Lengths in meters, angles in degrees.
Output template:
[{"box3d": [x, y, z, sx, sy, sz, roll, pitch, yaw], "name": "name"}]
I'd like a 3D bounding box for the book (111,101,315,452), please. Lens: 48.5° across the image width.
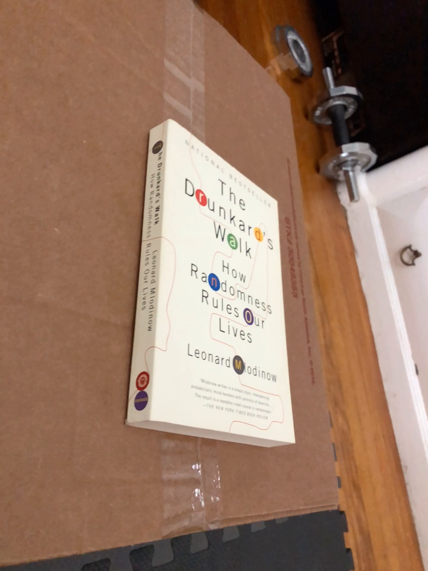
[{"box3d": [0.006, 0.000, 0.332, 0.141, 0.040, 0.210, 25, 55, -43], "name": "book"}]
